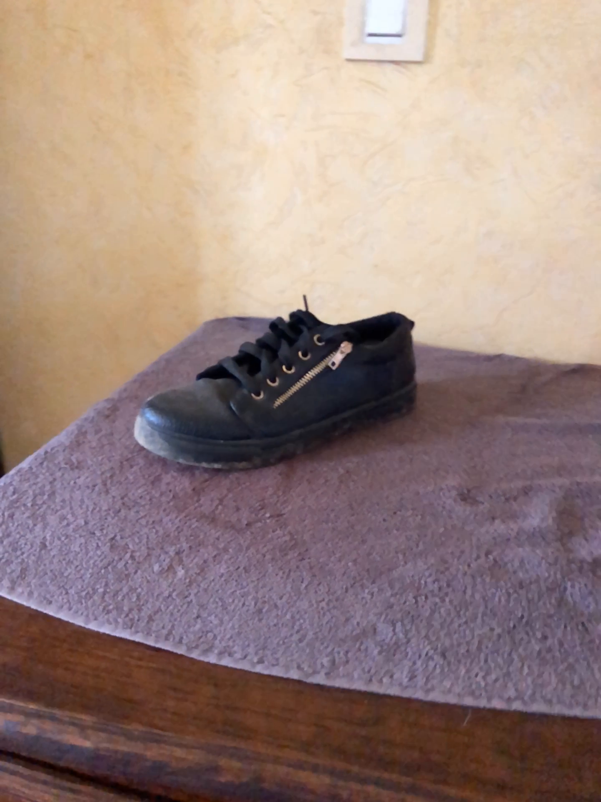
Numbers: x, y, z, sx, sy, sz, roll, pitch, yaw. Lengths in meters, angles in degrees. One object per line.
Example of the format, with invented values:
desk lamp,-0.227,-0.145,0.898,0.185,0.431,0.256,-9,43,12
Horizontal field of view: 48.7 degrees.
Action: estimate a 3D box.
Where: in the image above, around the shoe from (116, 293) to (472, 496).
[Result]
shoe,-0.001,-0.018,0.551,0.271,0.090,0.100,-12,28,-27
